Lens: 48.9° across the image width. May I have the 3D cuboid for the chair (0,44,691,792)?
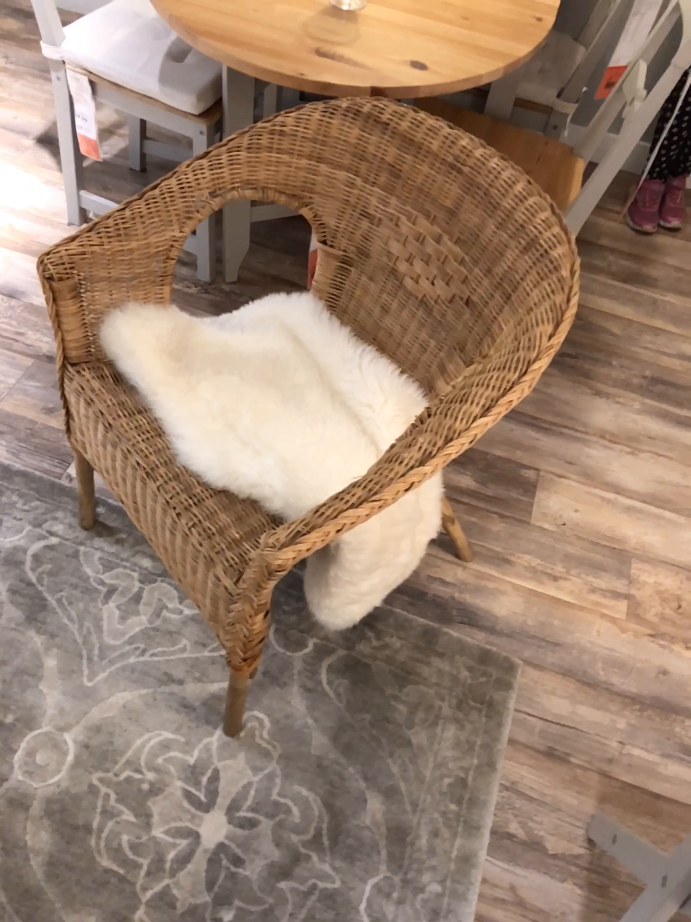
[{"bbox_3d":[-0.062,-0.067,1.157,0.631,0.718,0.651,-28,61,-27],"label":"chair"}]
